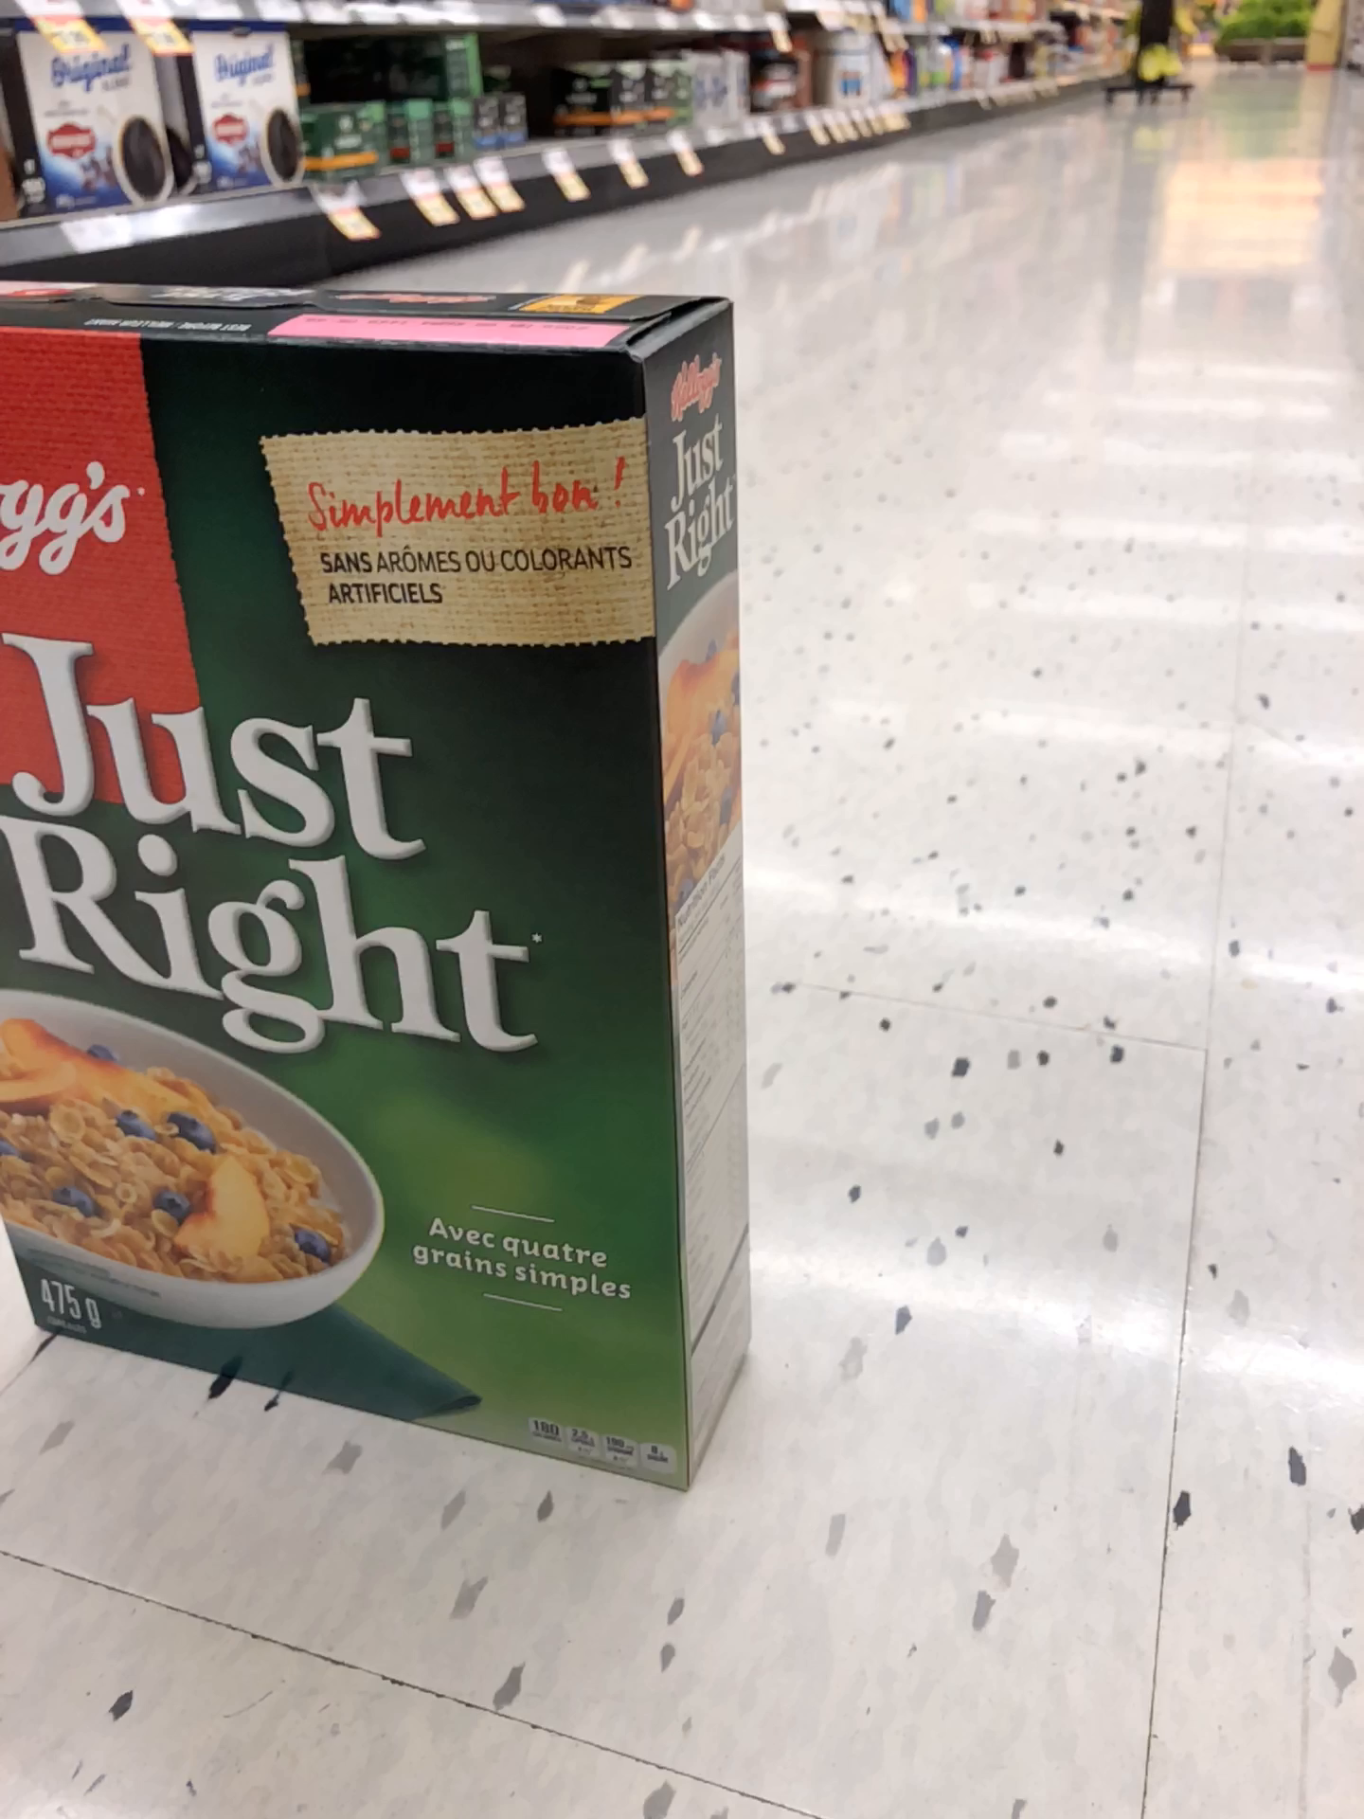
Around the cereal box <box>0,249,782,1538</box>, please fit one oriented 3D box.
[{"bbox_3d":[-0.086,0.002,0.338,0.210,0.268,0.050,9,31,18],"label":"cereal box"}]
